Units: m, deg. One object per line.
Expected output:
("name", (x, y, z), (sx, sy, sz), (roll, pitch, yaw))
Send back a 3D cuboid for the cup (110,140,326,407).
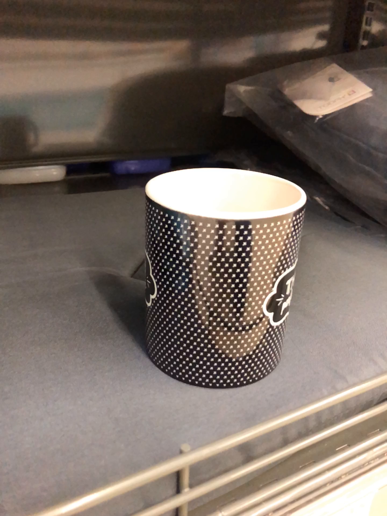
("cup", (0.022, -0.004, 0.248), (0.090, 0.099, 0.121), (8, 25, 13))
